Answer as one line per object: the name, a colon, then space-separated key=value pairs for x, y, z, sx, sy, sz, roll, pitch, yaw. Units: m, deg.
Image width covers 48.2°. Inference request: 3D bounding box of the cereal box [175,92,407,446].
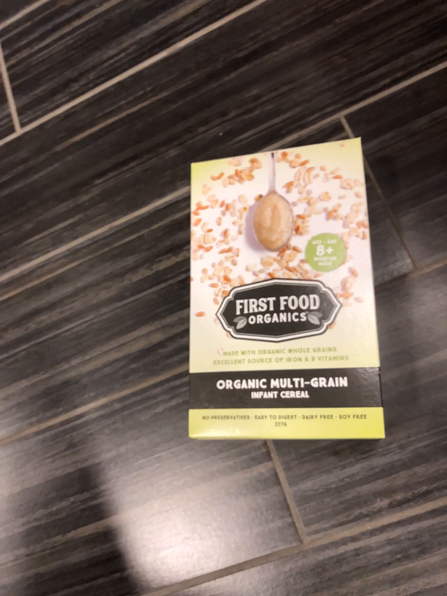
cereal box: x=0.042 y=-0.016 z=0.358 sx=0.140 sy=0.060 sz=0.230 roll=-6 pitch=74 yaw=16
